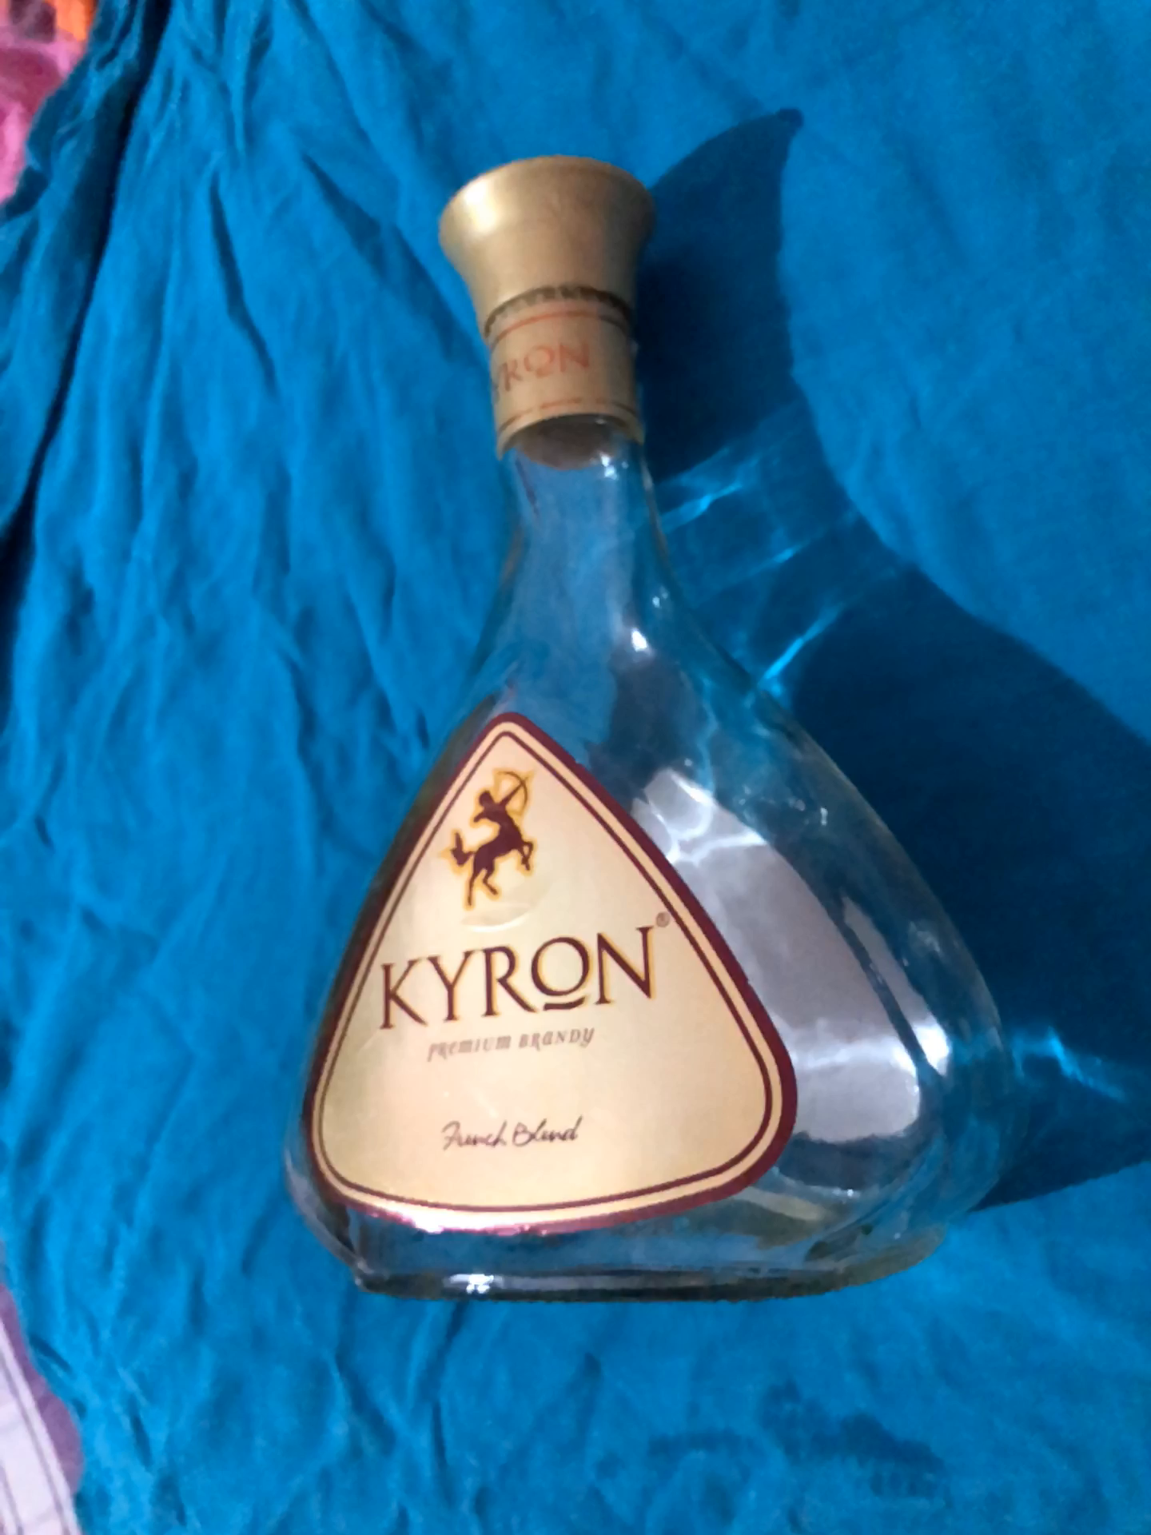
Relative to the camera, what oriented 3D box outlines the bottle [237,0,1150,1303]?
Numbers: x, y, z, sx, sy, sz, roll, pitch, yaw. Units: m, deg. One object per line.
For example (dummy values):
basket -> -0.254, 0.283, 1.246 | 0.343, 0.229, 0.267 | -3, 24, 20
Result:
bottle -> 0.021, -0.029, 0.267 | 0.150, 0.080, 0.240 | -14, 78, 34
